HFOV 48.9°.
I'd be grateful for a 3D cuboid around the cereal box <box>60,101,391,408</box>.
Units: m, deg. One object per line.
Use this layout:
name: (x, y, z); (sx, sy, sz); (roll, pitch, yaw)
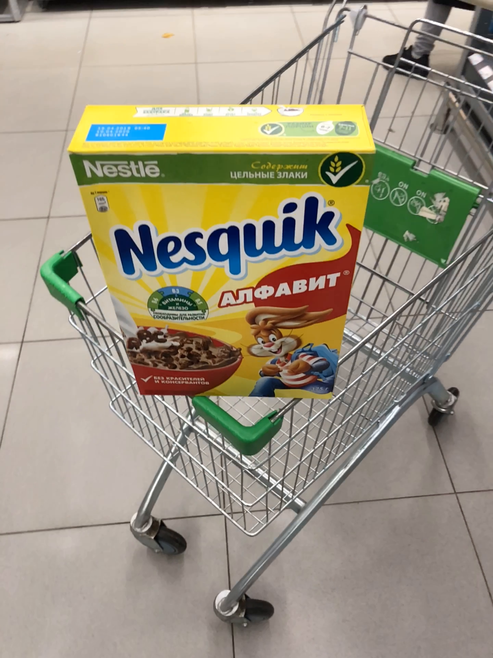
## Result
cereal box: (-0.013, -0.037, 0.457); (0.200, 0.289, 0.060); (0, 49, 0)
